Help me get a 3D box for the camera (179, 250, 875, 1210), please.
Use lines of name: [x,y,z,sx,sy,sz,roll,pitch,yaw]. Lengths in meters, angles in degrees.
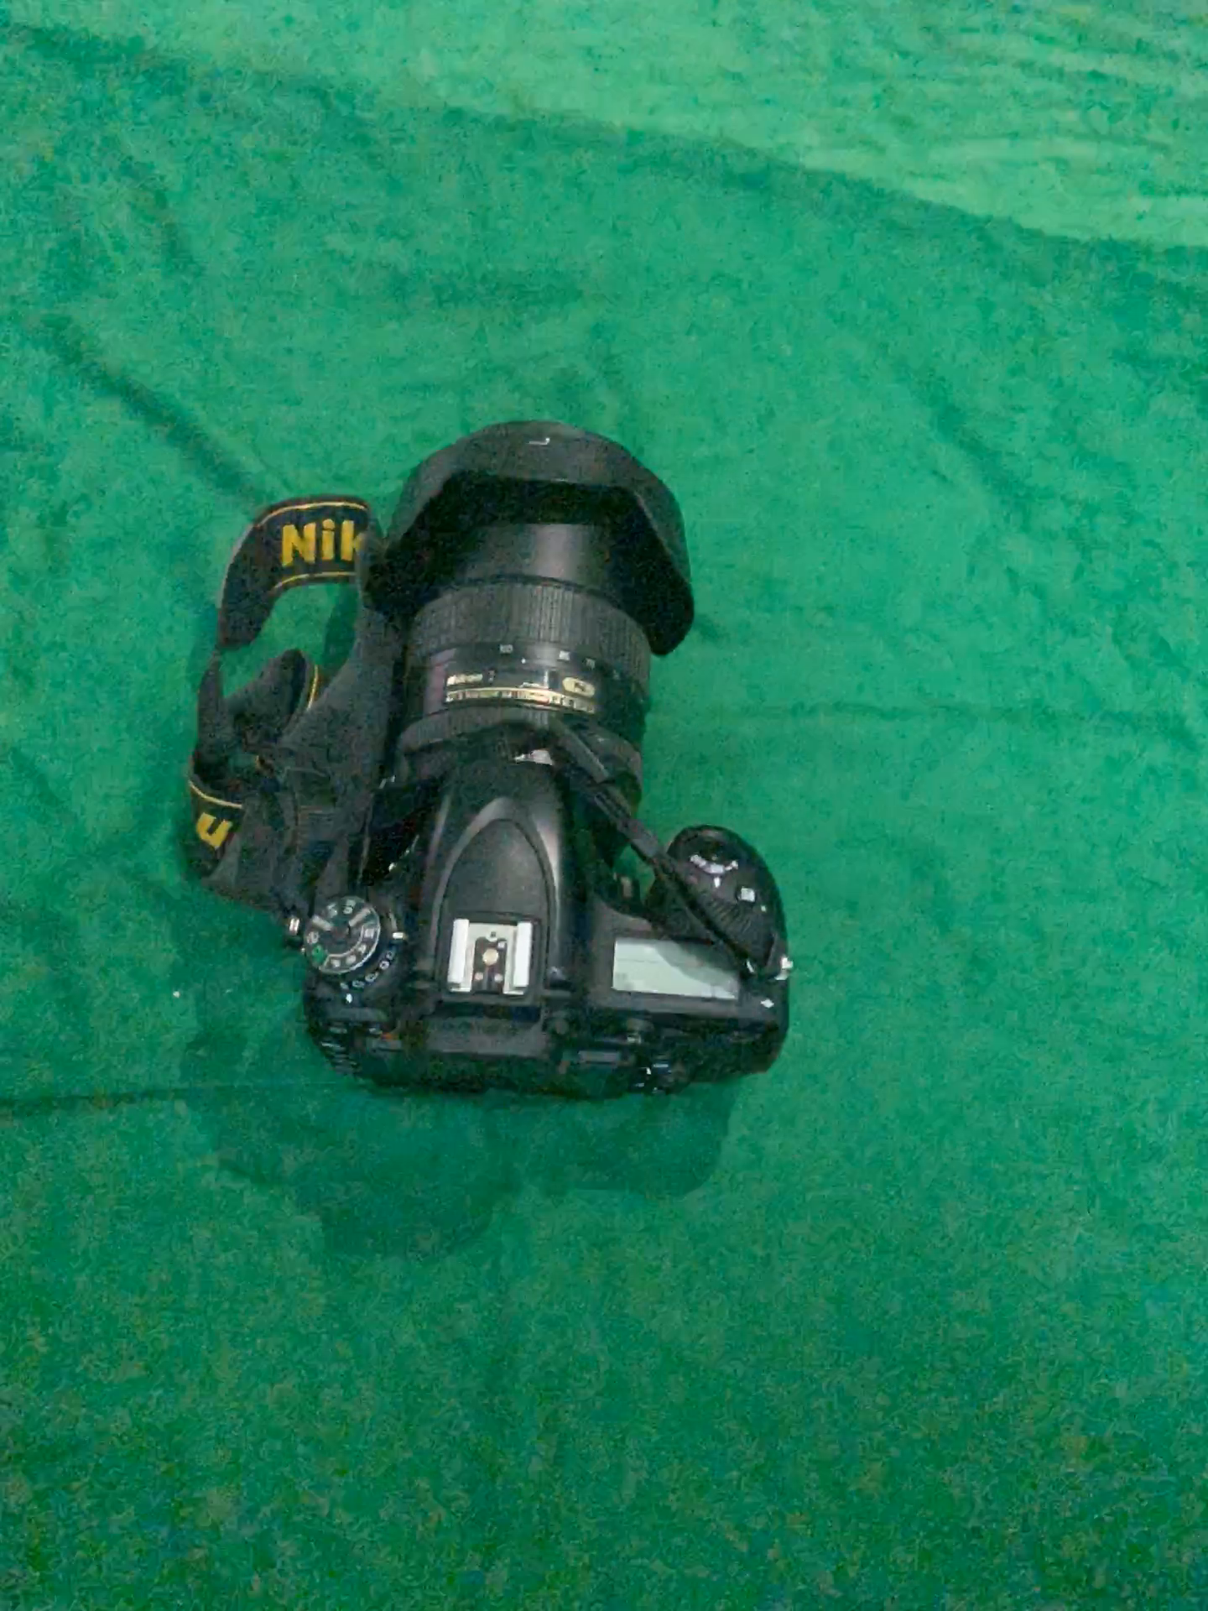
camera: [-0.007,-0.033,0.411,0.170,0.100,0.291,6,63,0]
